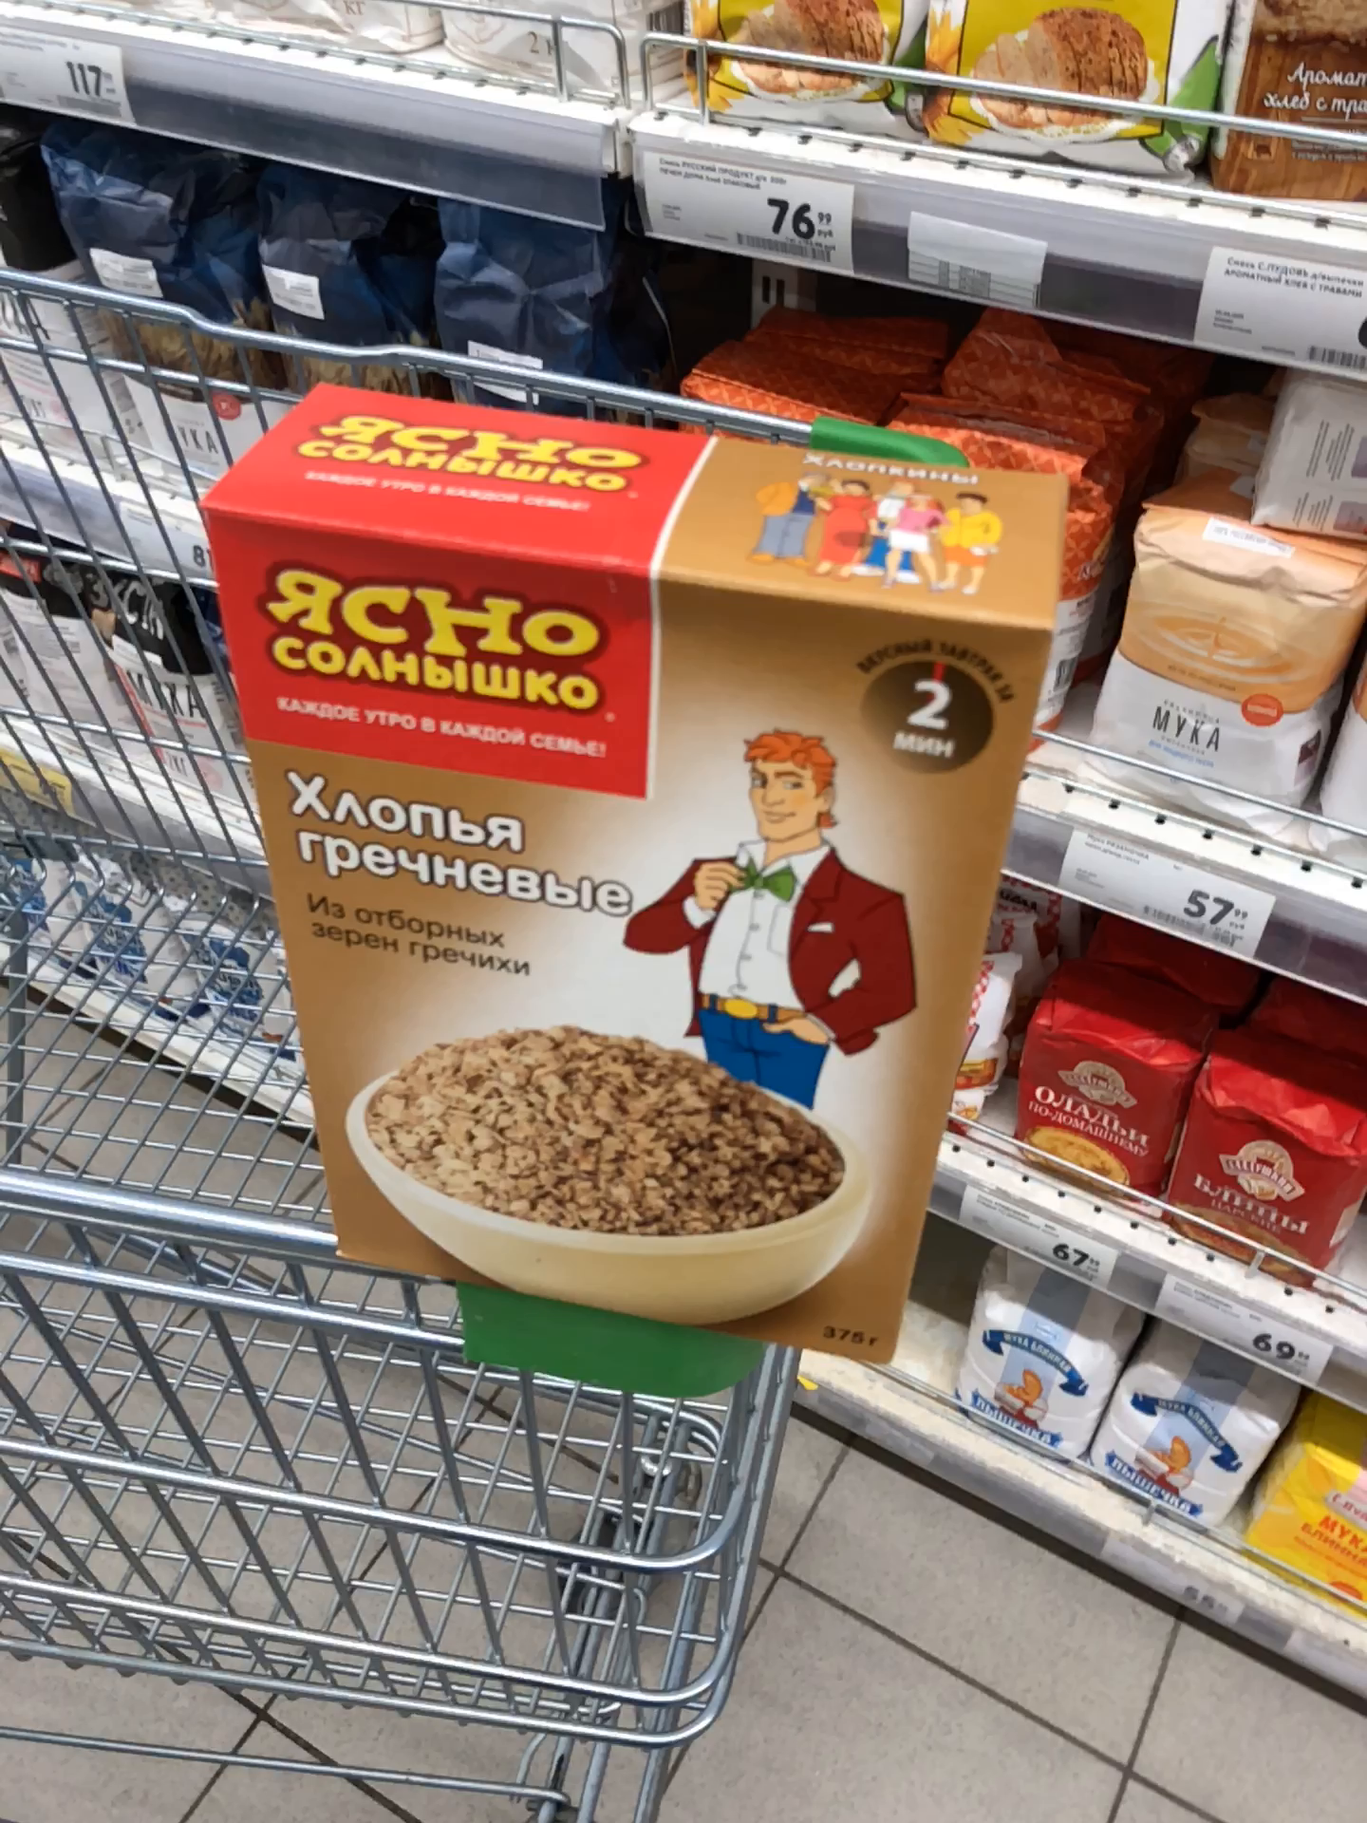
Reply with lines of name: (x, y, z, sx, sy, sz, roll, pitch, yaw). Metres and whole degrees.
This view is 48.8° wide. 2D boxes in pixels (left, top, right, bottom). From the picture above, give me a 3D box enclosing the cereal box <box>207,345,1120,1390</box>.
cereal box: (-0.002, 0.002, 0.294, 0.130, 0.189, 0.060, 10, 42, 9)
